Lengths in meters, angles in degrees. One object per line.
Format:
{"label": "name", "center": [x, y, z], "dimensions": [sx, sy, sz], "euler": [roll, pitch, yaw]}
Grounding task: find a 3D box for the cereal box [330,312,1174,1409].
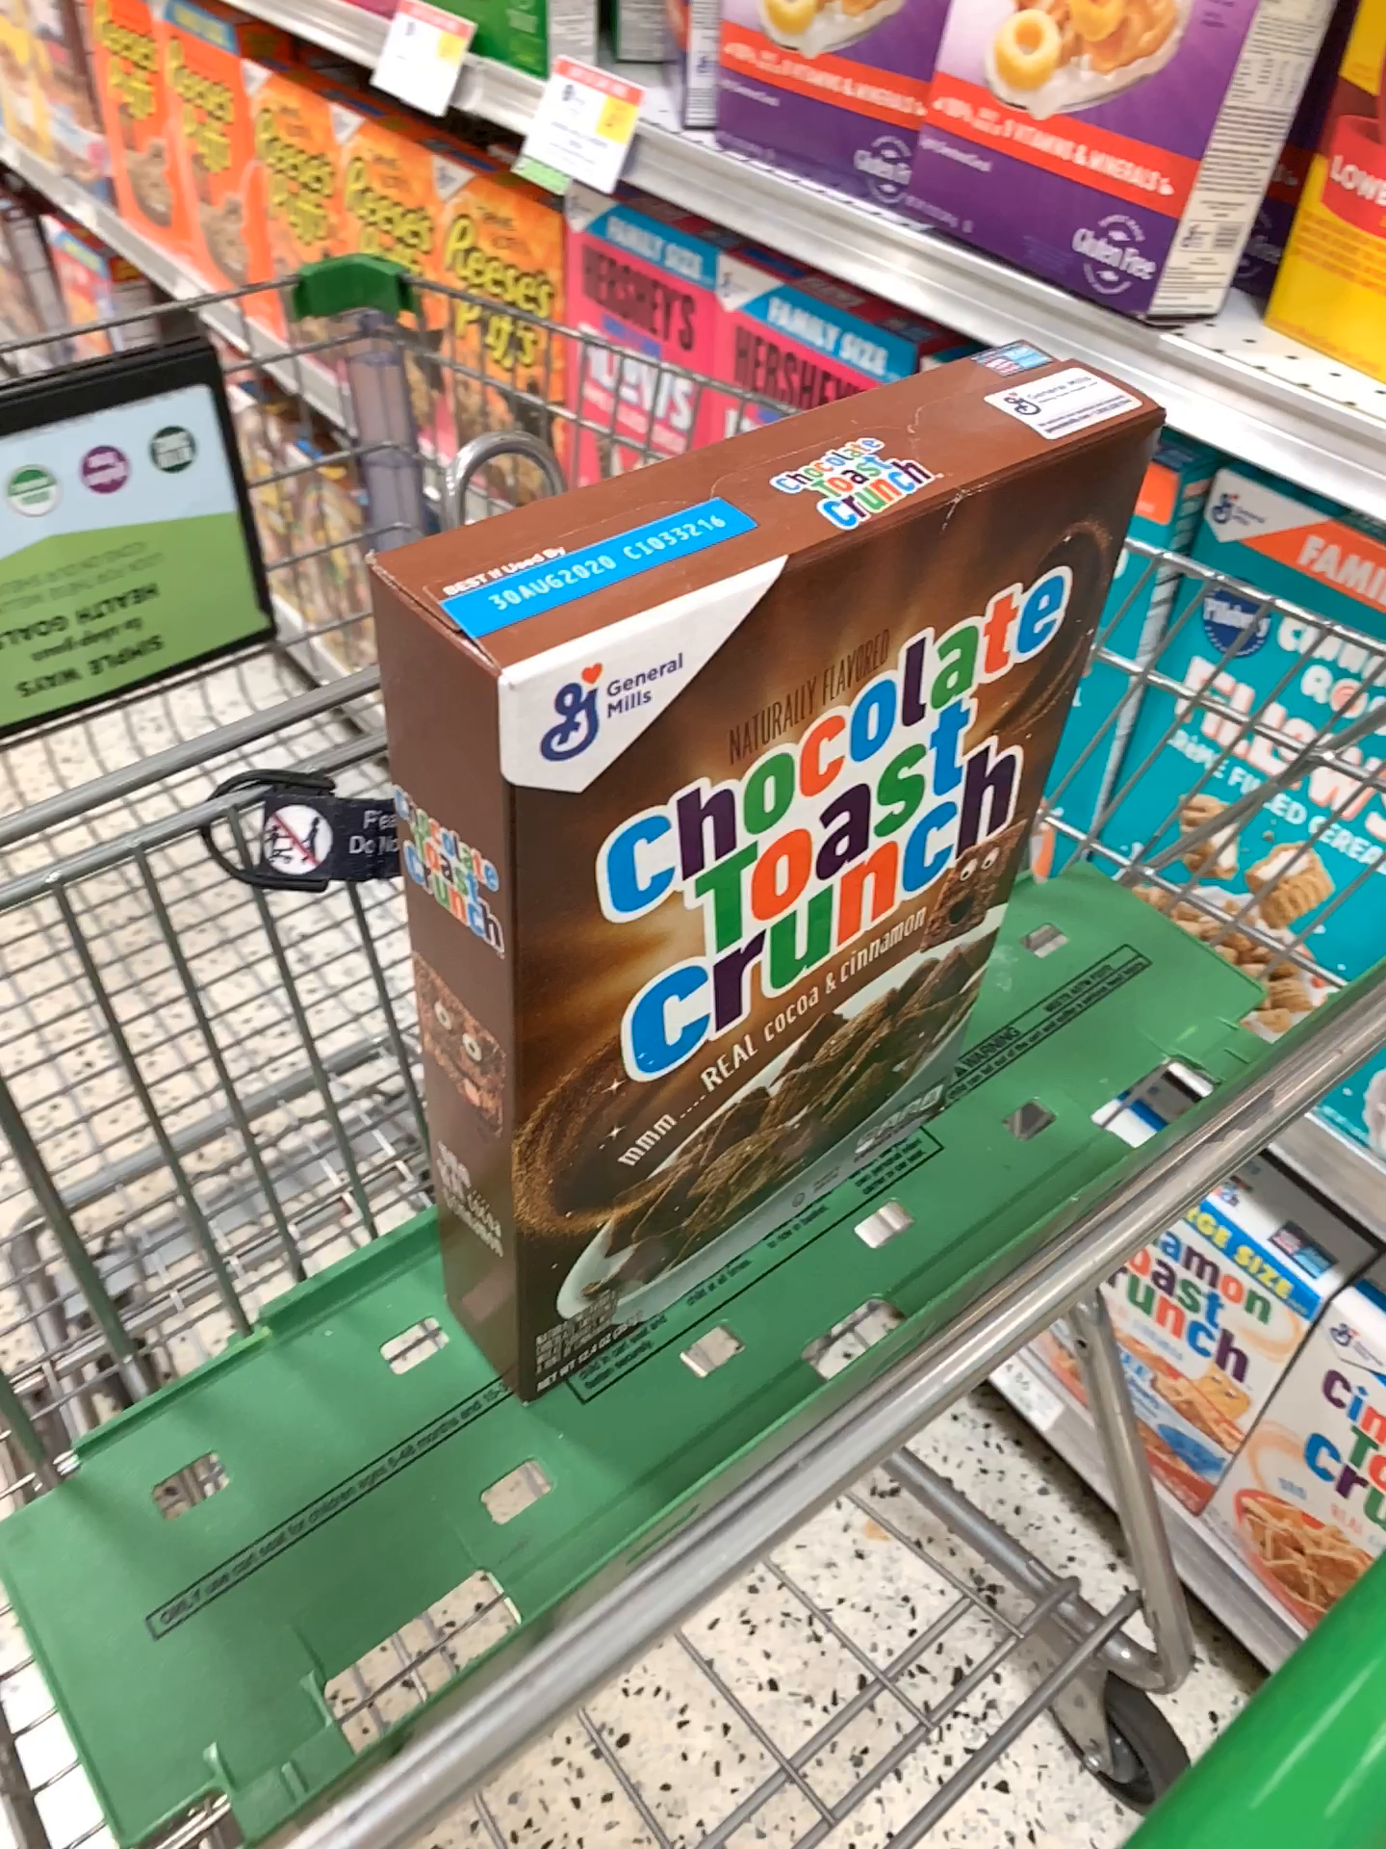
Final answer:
{"label": "cereal box", "center": [0.014, -0.004, 0.407], "dimensions": [0.201, 0.277, 0.050], "euler": [-29, 54, -29]}
